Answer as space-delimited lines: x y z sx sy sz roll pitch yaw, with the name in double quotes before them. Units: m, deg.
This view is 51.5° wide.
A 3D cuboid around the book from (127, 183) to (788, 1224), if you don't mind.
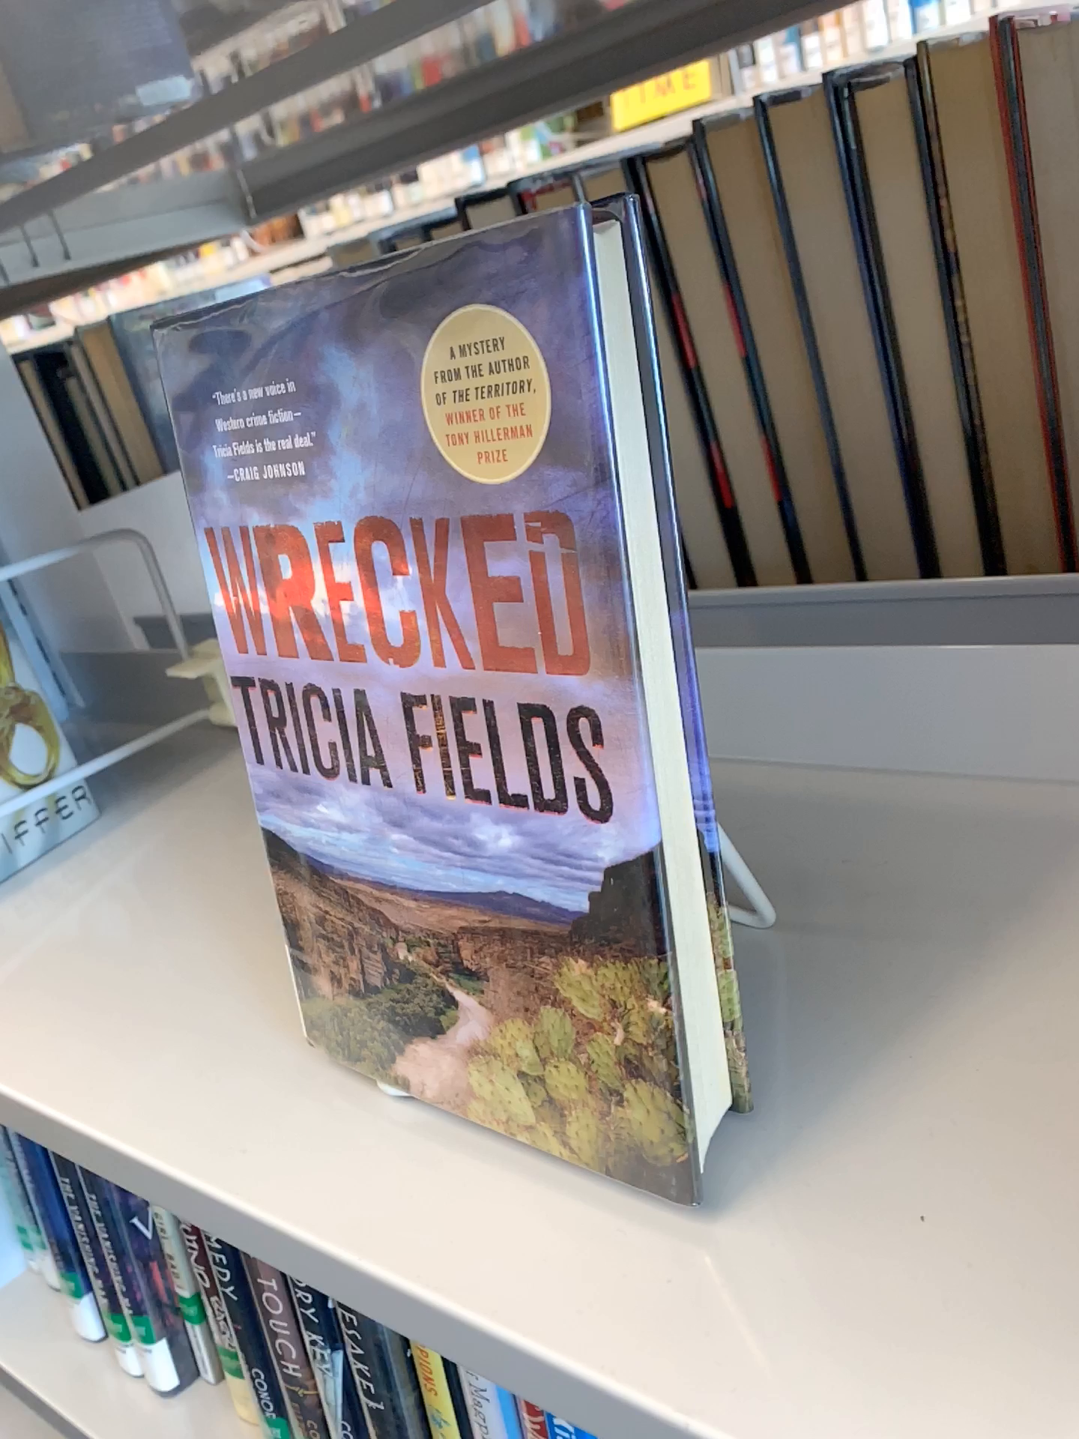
"book" -0.023 0.000 0.280 0.147 0.213 0.035 4 19 40
